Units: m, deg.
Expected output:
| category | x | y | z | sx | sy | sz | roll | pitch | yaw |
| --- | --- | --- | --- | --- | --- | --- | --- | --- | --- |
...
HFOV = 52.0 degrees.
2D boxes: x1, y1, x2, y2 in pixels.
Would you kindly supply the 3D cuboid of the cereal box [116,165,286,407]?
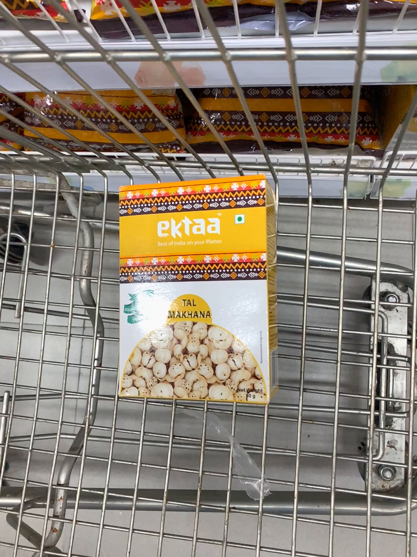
| category | x | y | z | sx | sy | sz | roll | pitch | yaw |
| --- | --- | --- | --- | --- | --- | --- | --- | --- | --- |
| cereal box | -0.004 | 0.007 | 0.370 | 0.130 | 0.070 | 0.180 | -1 | 87 | 16 |
